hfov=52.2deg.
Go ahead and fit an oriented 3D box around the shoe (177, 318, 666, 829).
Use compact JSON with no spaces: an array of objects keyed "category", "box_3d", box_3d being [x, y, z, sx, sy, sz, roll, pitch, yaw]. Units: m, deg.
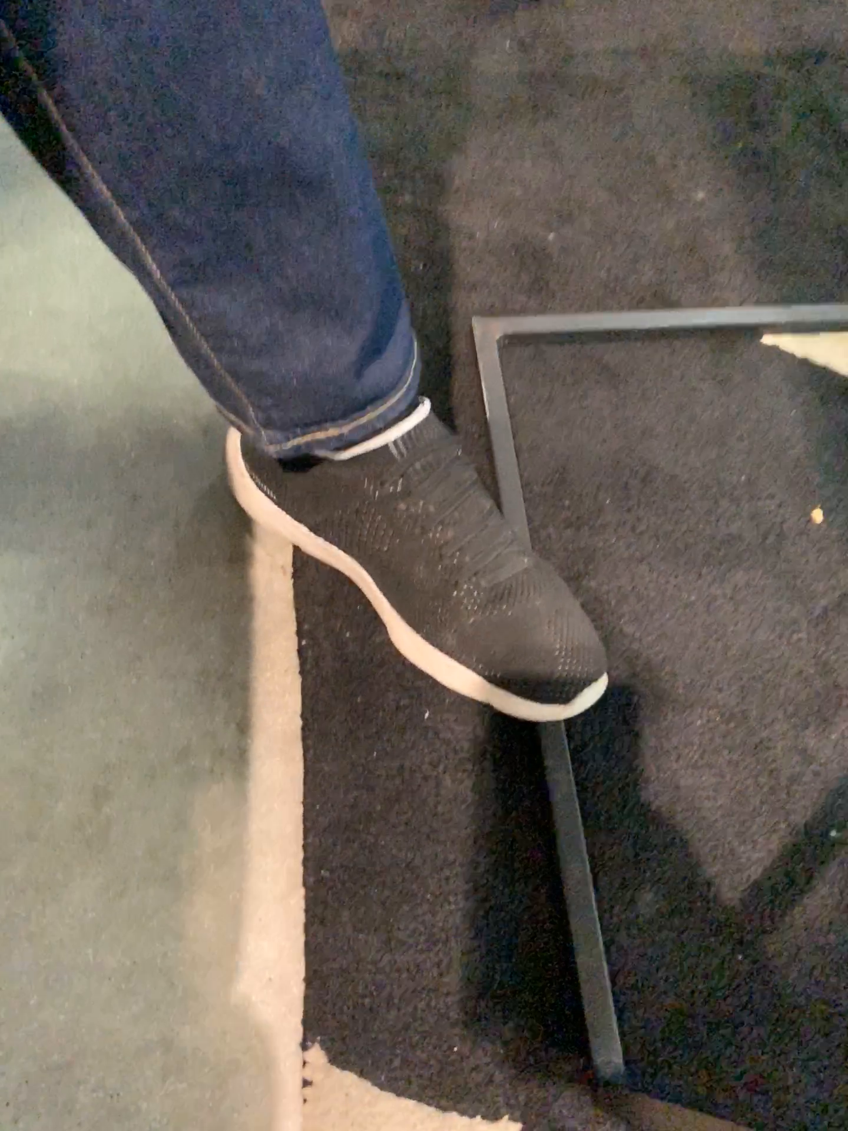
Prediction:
[{"category":"shoe","box_3d":[-0.012,-0.005,0.530,0.116,0.074,0.303,-35,70,-19]}]
